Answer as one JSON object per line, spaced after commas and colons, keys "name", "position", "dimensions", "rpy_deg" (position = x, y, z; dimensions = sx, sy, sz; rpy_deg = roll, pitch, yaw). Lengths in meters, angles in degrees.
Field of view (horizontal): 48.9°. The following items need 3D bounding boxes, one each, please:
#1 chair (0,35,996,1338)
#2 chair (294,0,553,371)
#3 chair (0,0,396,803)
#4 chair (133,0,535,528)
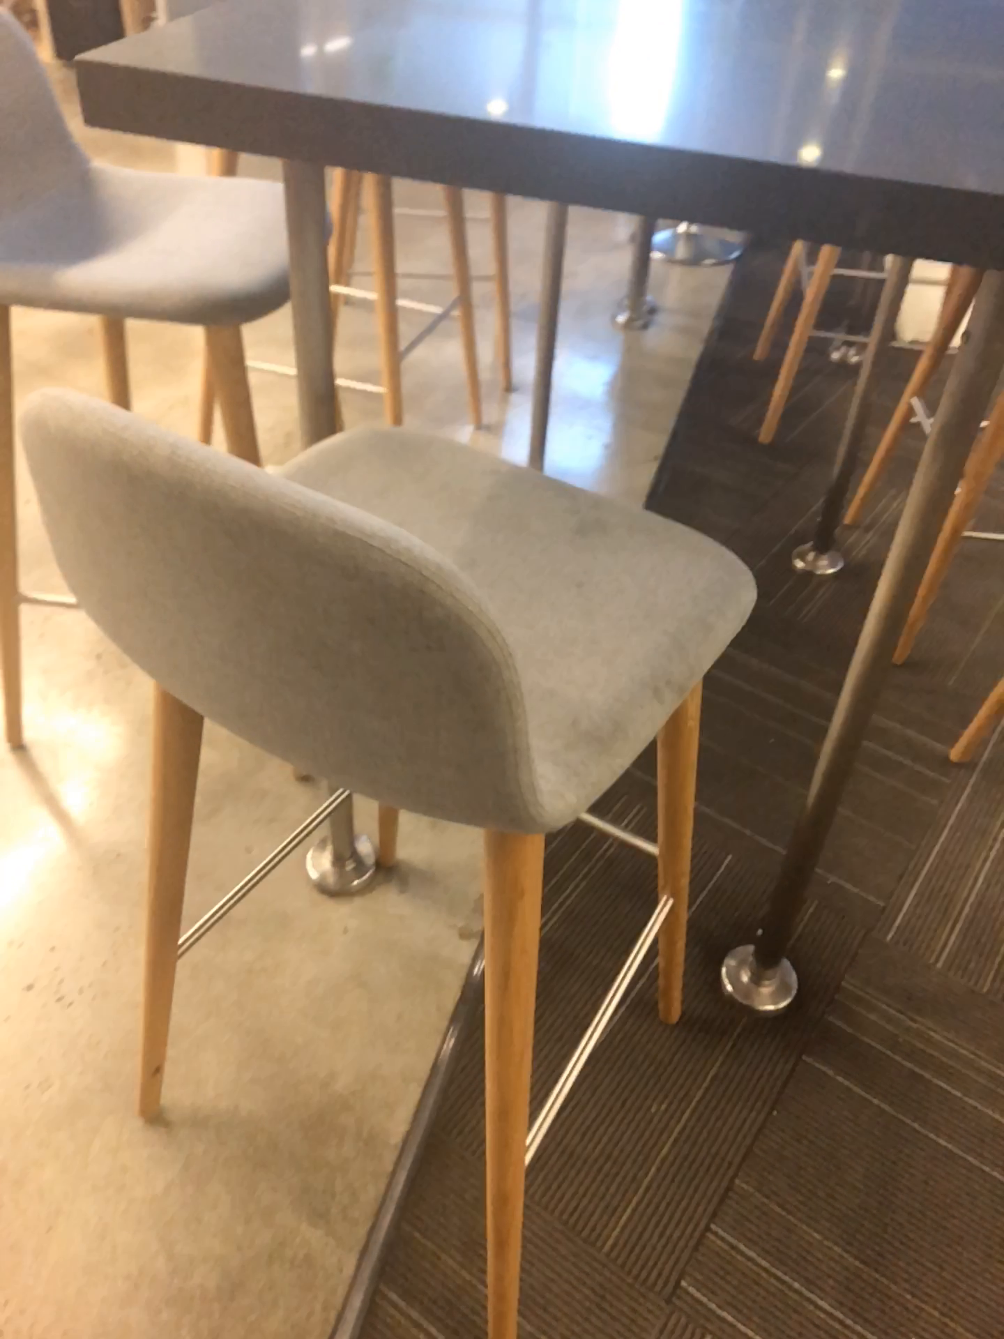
{"name": "chair", "position": [-0.039, 0.052, 1.032], "dimensions": [0.500, 0.981, 0.665], "rpy_deg": [24, 44, 22]}
{"name": "chair", "position": [-0.185, -1.246, 2.633], "dimensions": [0.510, 0.892, 0.494], "rpy_deg": [2, 36, -3]}
{"name": "chair", "position": [-0.461, -0.355, 1.598], "dimensions": [0.540, 0.981, 0.505], "rpy_deg": [5, 40, 1]}
{"name": "chair", "position": [-0.302, -0.882, 2.197], "dimensions": [0.540, 0.981, 0.504], "rpy_deg": [12, 36, 9]}
